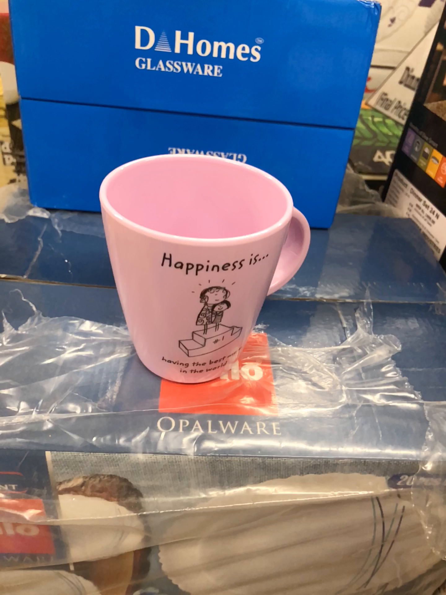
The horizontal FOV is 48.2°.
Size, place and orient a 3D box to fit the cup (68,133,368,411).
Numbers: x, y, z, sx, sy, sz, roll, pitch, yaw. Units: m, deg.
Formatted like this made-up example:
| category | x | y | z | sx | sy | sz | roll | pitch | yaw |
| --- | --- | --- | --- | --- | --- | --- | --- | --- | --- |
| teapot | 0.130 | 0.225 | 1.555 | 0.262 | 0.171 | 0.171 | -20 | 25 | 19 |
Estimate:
| category | x | y | z | sx | sy | sz | roll | pitch | yaw |
| --- | --- | --- | --- | --- | --- | --- | --- | --- | --- |
| cup | -0.010 | -0.019 | 0.252 | 0.110 | 0.089 | 0.090 | -10 | 42 | -20 |
